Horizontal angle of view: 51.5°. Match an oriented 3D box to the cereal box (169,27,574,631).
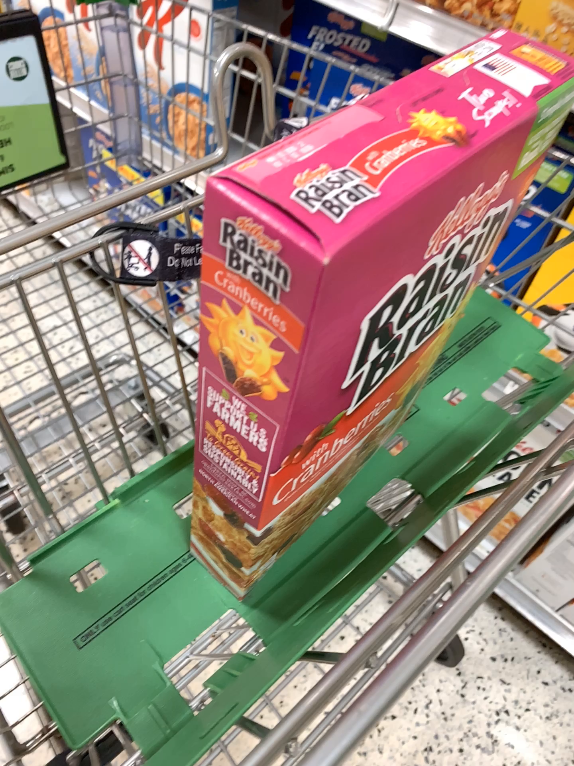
[{"bbox_3d":[0.028,0.000,0.348,0.050,0.327,0.211,38,55,18],"label":"cereal box"}]
